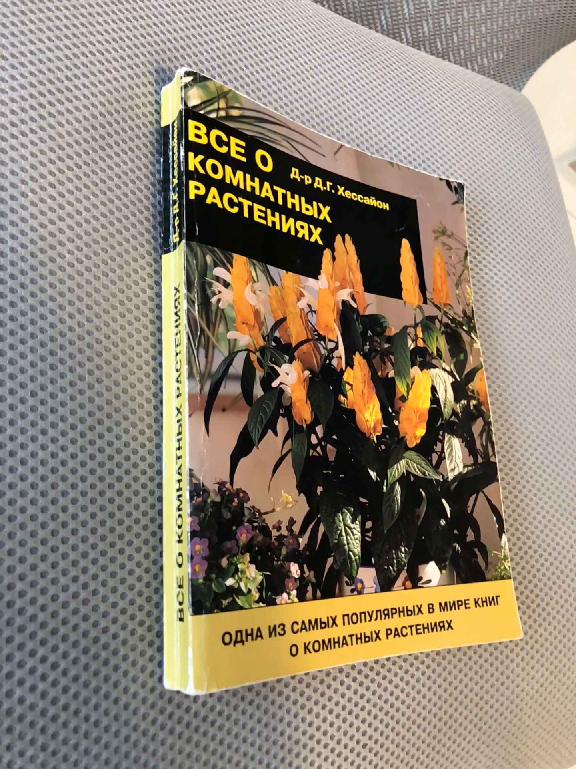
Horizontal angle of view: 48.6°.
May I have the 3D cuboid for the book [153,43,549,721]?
[{"bbox_3d":[0.029,-0.004,0.269,0.171,0.030,0.230,7,72,-35],"label":"book"}]
